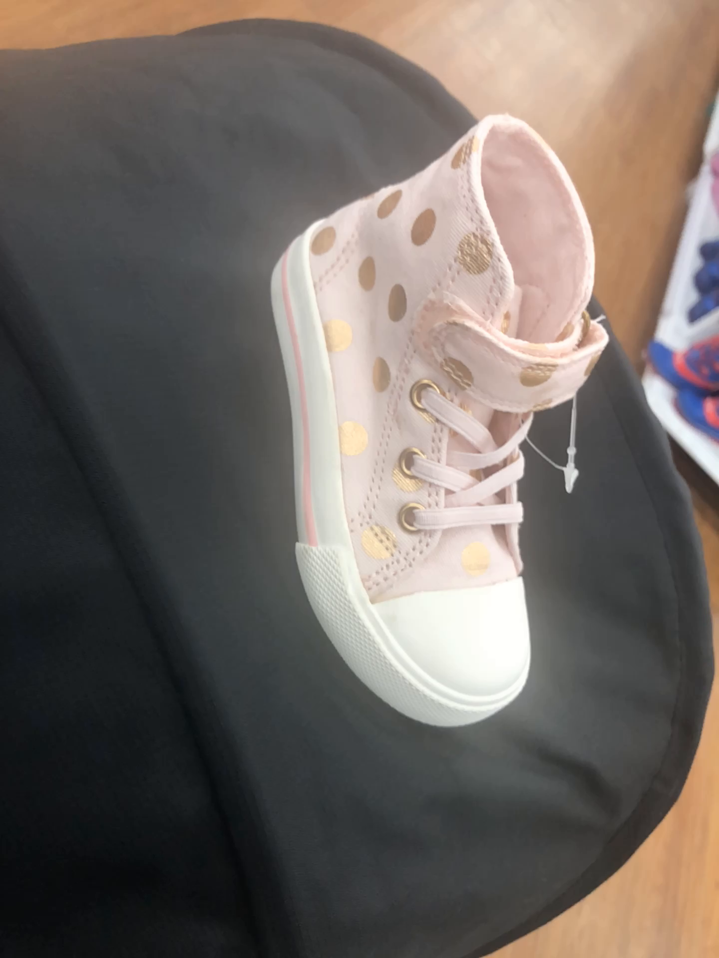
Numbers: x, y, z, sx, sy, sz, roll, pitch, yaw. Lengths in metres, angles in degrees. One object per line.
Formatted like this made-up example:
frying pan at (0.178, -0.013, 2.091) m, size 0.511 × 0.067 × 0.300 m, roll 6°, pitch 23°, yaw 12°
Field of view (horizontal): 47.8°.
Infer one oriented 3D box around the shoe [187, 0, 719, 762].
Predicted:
shoe at (0.028, -0.023, 0.235) m, size 0.080 × 0.100 × 0.170 m, roll -4°, pitch 68°, yaw -40°
